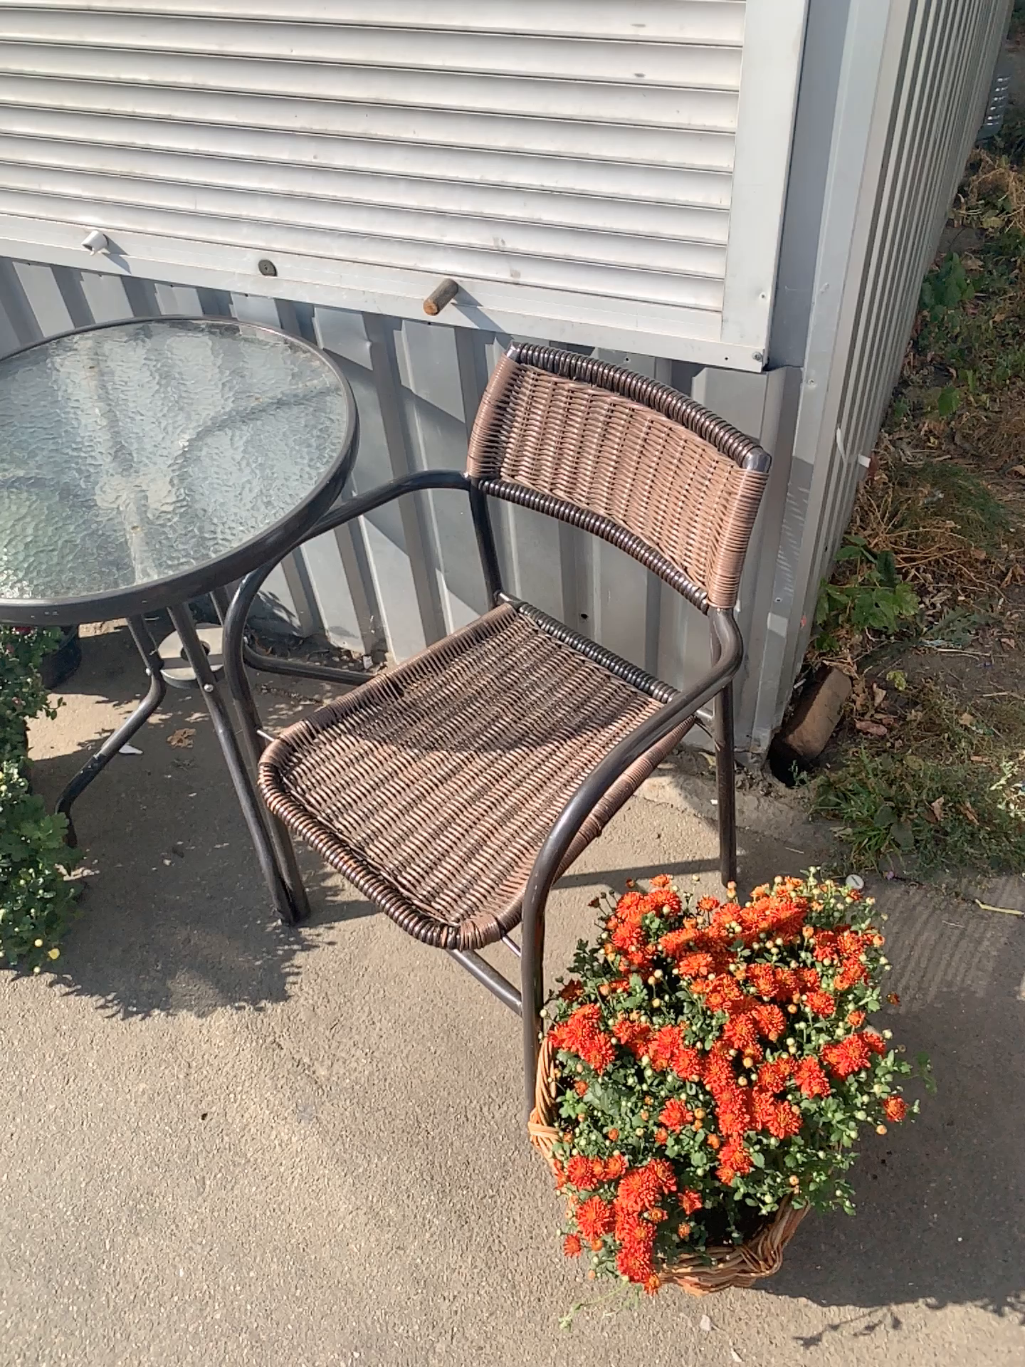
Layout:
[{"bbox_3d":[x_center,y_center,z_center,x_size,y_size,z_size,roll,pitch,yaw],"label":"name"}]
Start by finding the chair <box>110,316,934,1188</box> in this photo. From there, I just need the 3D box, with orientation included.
[{"bbox_3d":[0.044,0.072,1.379,0.571,0.717,0.691,31,57,29],"label":"chair"}]
